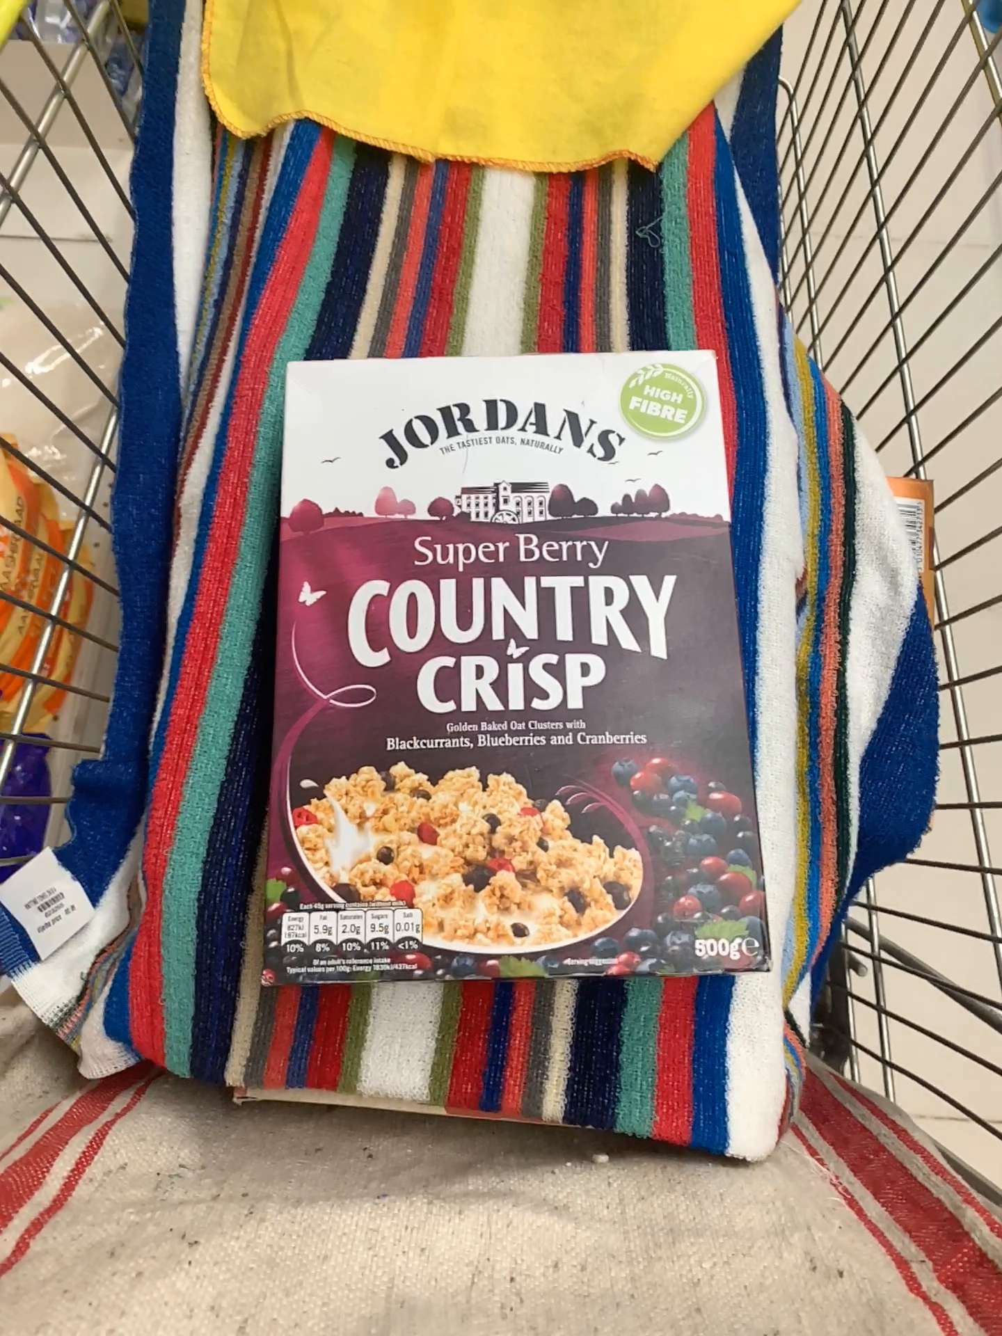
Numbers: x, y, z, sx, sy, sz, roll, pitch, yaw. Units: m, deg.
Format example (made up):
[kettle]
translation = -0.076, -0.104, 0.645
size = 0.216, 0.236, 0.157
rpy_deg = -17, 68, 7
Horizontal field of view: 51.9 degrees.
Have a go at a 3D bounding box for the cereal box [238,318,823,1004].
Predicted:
[cereal box]
translation = 0.006, -0.005, 0.381
size = 0.180, 0.060, 0.240
rpy_deg = -2, 73, 2
